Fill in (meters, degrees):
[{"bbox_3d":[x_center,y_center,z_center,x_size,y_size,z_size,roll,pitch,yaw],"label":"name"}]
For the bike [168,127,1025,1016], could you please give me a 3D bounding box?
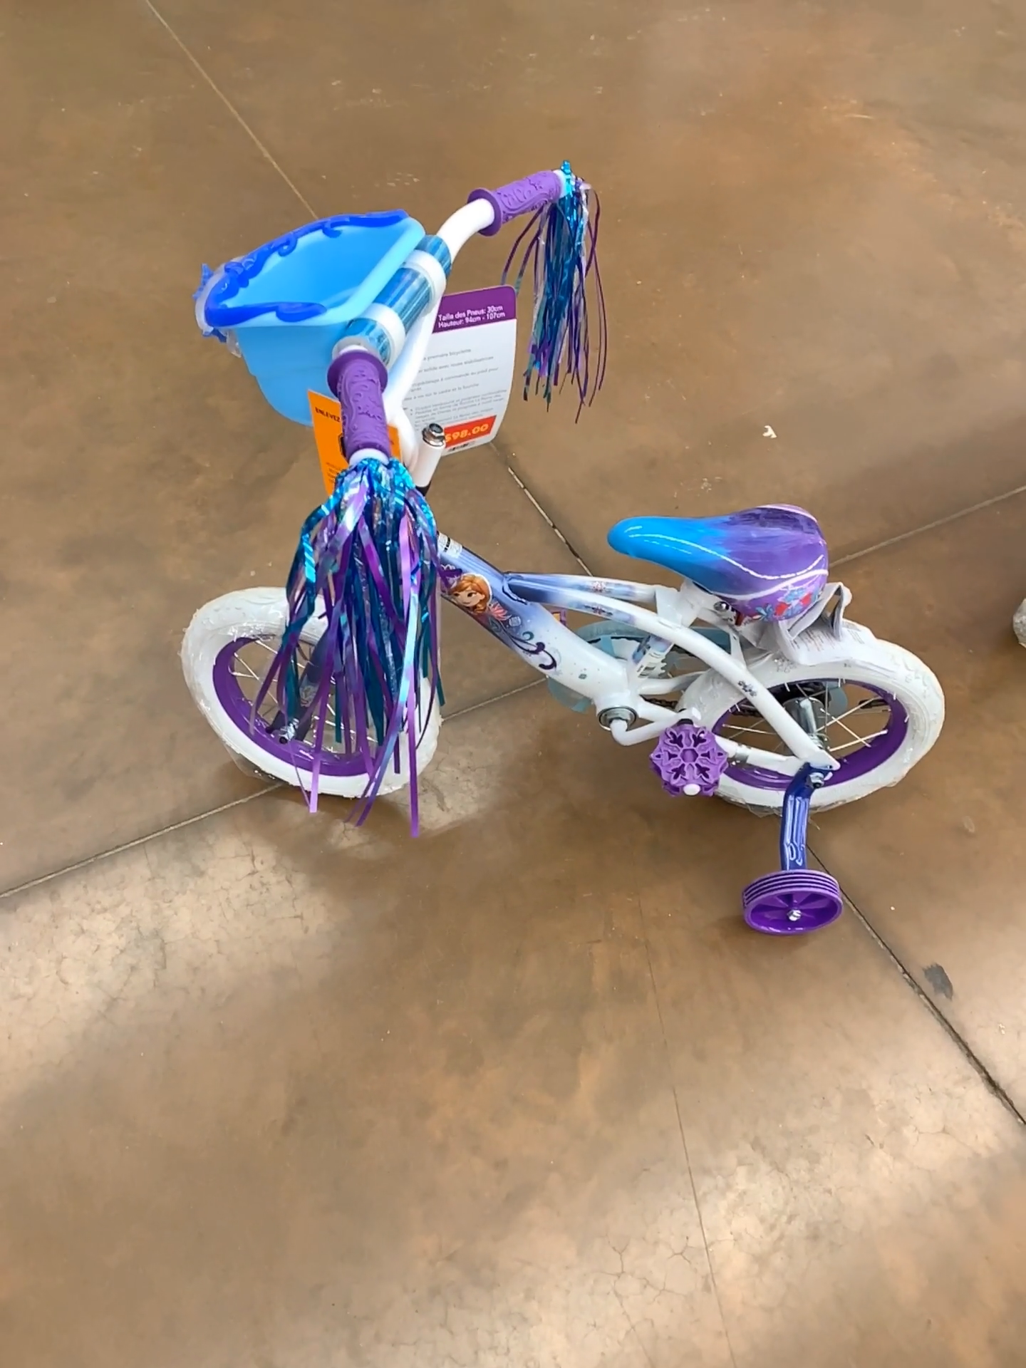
[{"bbox_3d":[0.141,-0.061,0.966,0.651,0.643,0.474,1,52,-5],"label":"bike"}]
